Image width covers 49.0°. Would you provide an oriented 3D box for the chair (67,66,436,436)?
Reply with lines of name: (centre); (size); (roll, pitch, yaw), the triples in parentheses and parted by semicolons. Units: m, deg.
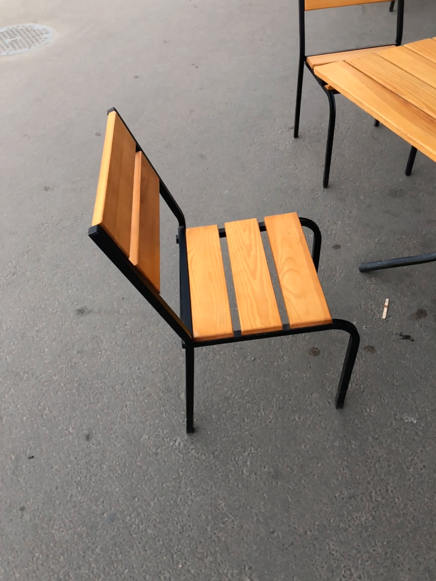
chair: (0.058, -0.067, 1.107); (0.550, 0.638, 0.492); (-6, 47, 0)
